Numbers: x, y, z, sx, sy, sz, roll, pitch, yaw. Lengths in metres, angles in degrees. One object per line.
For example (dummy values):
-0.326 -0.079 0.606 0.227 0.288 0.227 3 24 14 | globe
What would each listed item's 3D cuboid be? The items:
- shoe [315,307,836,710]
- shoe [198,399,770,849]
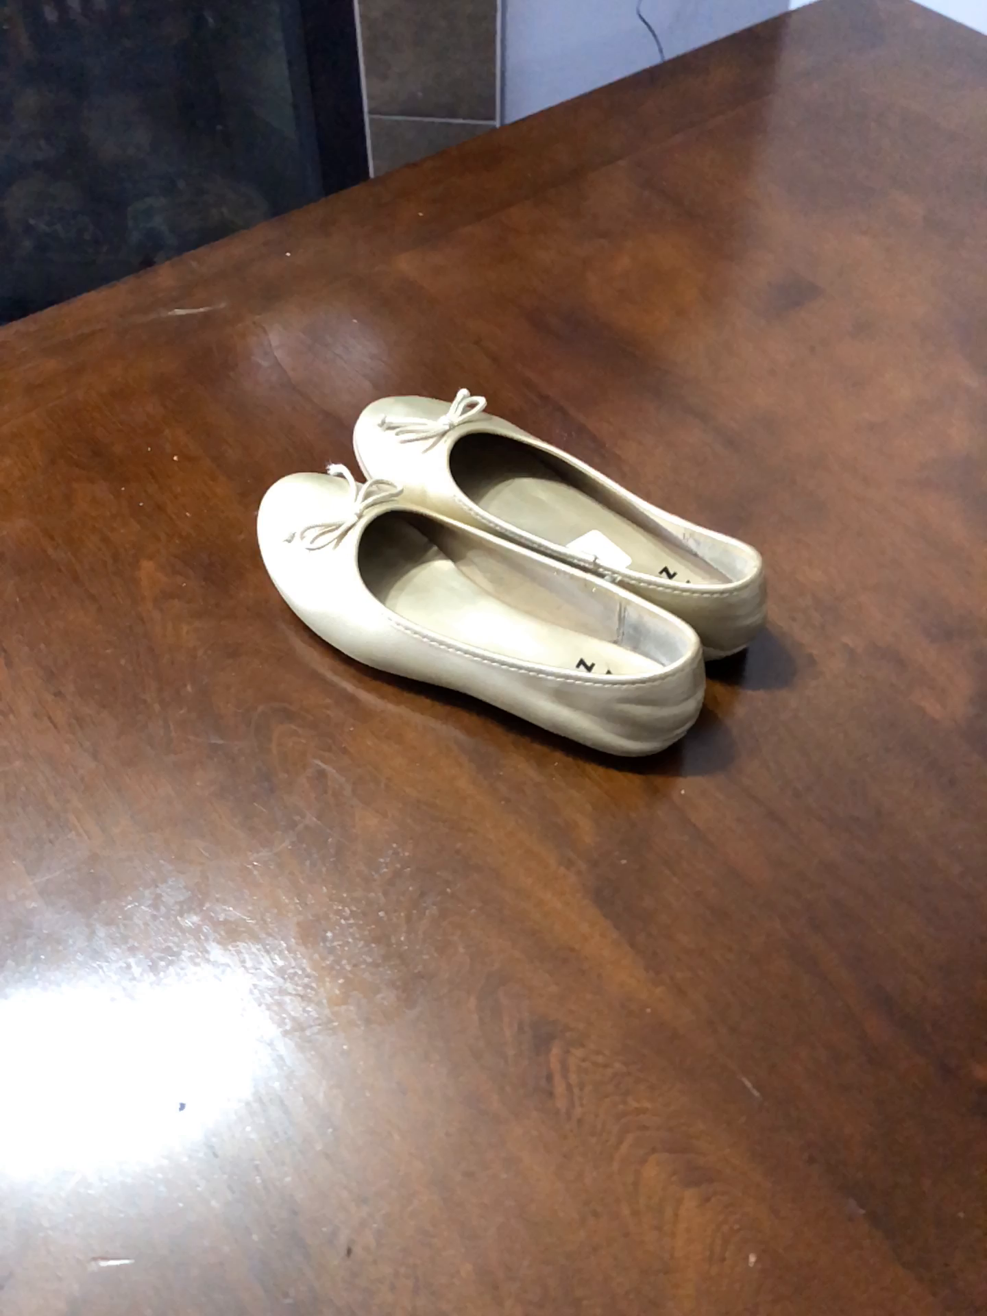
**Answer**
0.032 -0.077 0.524 0.230 0.070 0.080 30 59 20 | shoe
-0.008 -0.022 0.489 0.230 0.070 0.090 28 58 19 | shoe
